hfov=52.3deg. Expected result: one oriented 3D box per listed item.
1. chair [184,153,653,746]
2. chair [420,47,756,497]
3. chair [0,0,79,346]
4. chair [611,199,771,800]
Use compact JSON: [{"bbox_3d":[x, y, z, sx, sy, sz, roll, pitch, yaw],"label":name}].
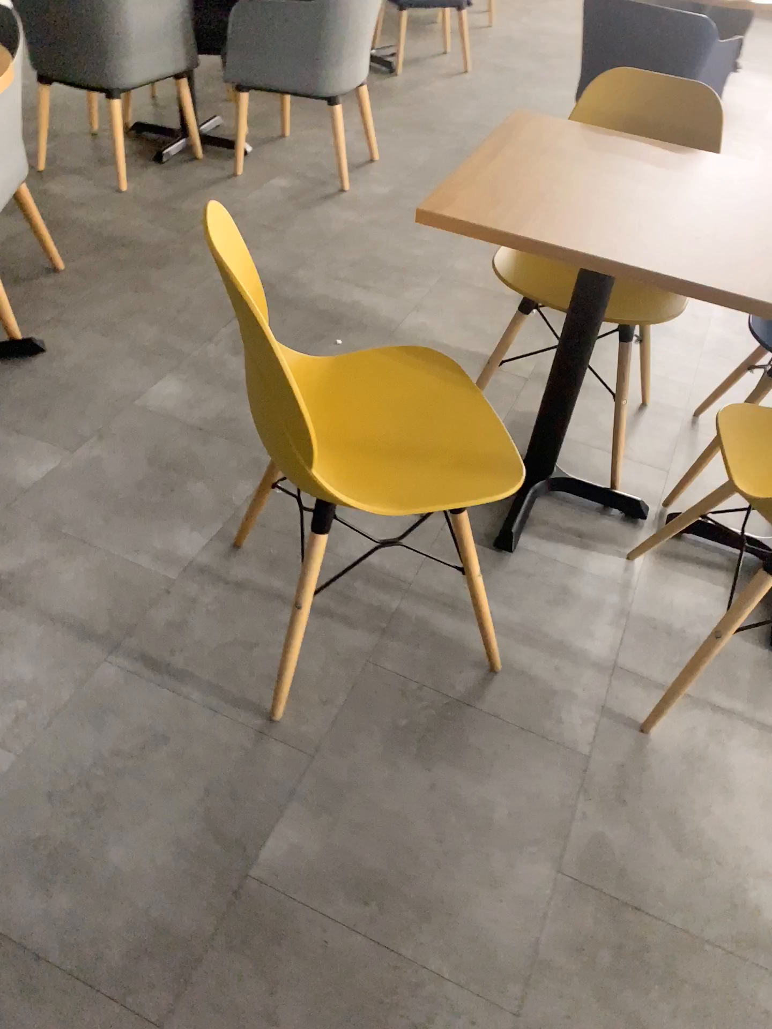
[{"bbox_3d":[-0.022,-0.100,1.324,0.492,0.786,0.521,-9,45,-16],"label":"chair"},{"bbox_3d":[0.439,-0.554,1.831,0.497,0.776,0.496,19,45,13],"label":"chair"},{"bbox_3d":[-1.230,-0.934,2.074,0.547,0.756,0.527,3,43,-4],"label":"chair"},{"bbox_3d":[0.732,0.001,1.295,0.497,0.776,0.496,11,43,5],"label":"chair"}]
